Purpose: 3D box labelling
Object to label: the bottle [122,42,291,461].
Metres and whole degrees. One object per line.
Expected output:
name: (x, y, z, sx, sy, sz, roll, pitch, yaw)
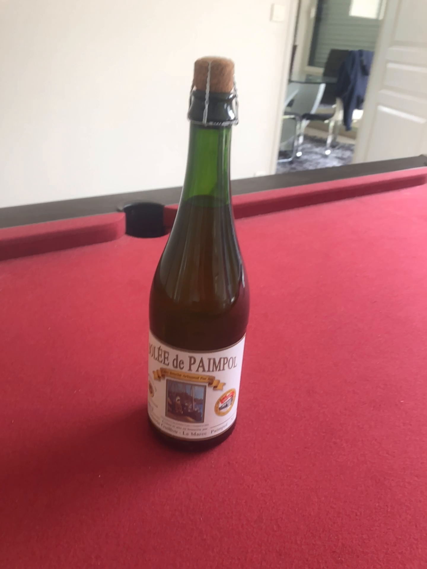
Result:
bottle: (-0.010, -0.016, 0.362, 0.090, 0.298, 0.101, 6, 27, 3)
